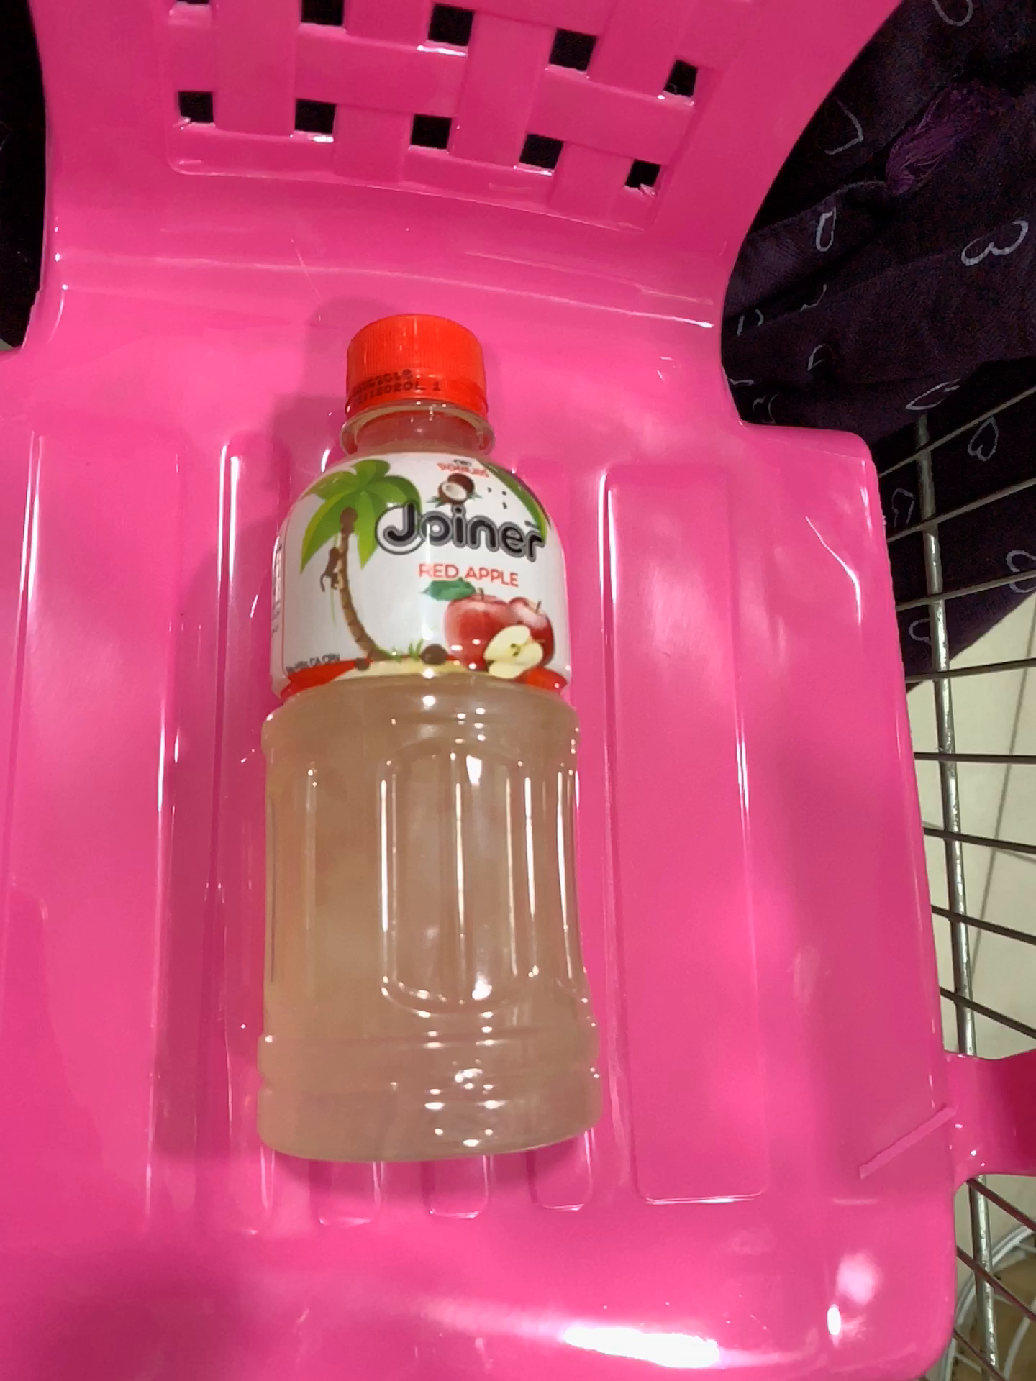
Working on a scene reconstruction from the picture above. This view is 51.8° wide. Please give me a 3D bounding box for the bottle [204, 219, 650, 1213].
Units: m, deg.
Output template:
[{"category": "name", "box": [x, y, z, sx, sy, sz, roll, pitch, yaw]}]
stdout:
[{"category": "bottle", "box": [-0.021, 0.003, 0.203, 0.070, 0.050, 0.160, 1, 80, -15]}]
